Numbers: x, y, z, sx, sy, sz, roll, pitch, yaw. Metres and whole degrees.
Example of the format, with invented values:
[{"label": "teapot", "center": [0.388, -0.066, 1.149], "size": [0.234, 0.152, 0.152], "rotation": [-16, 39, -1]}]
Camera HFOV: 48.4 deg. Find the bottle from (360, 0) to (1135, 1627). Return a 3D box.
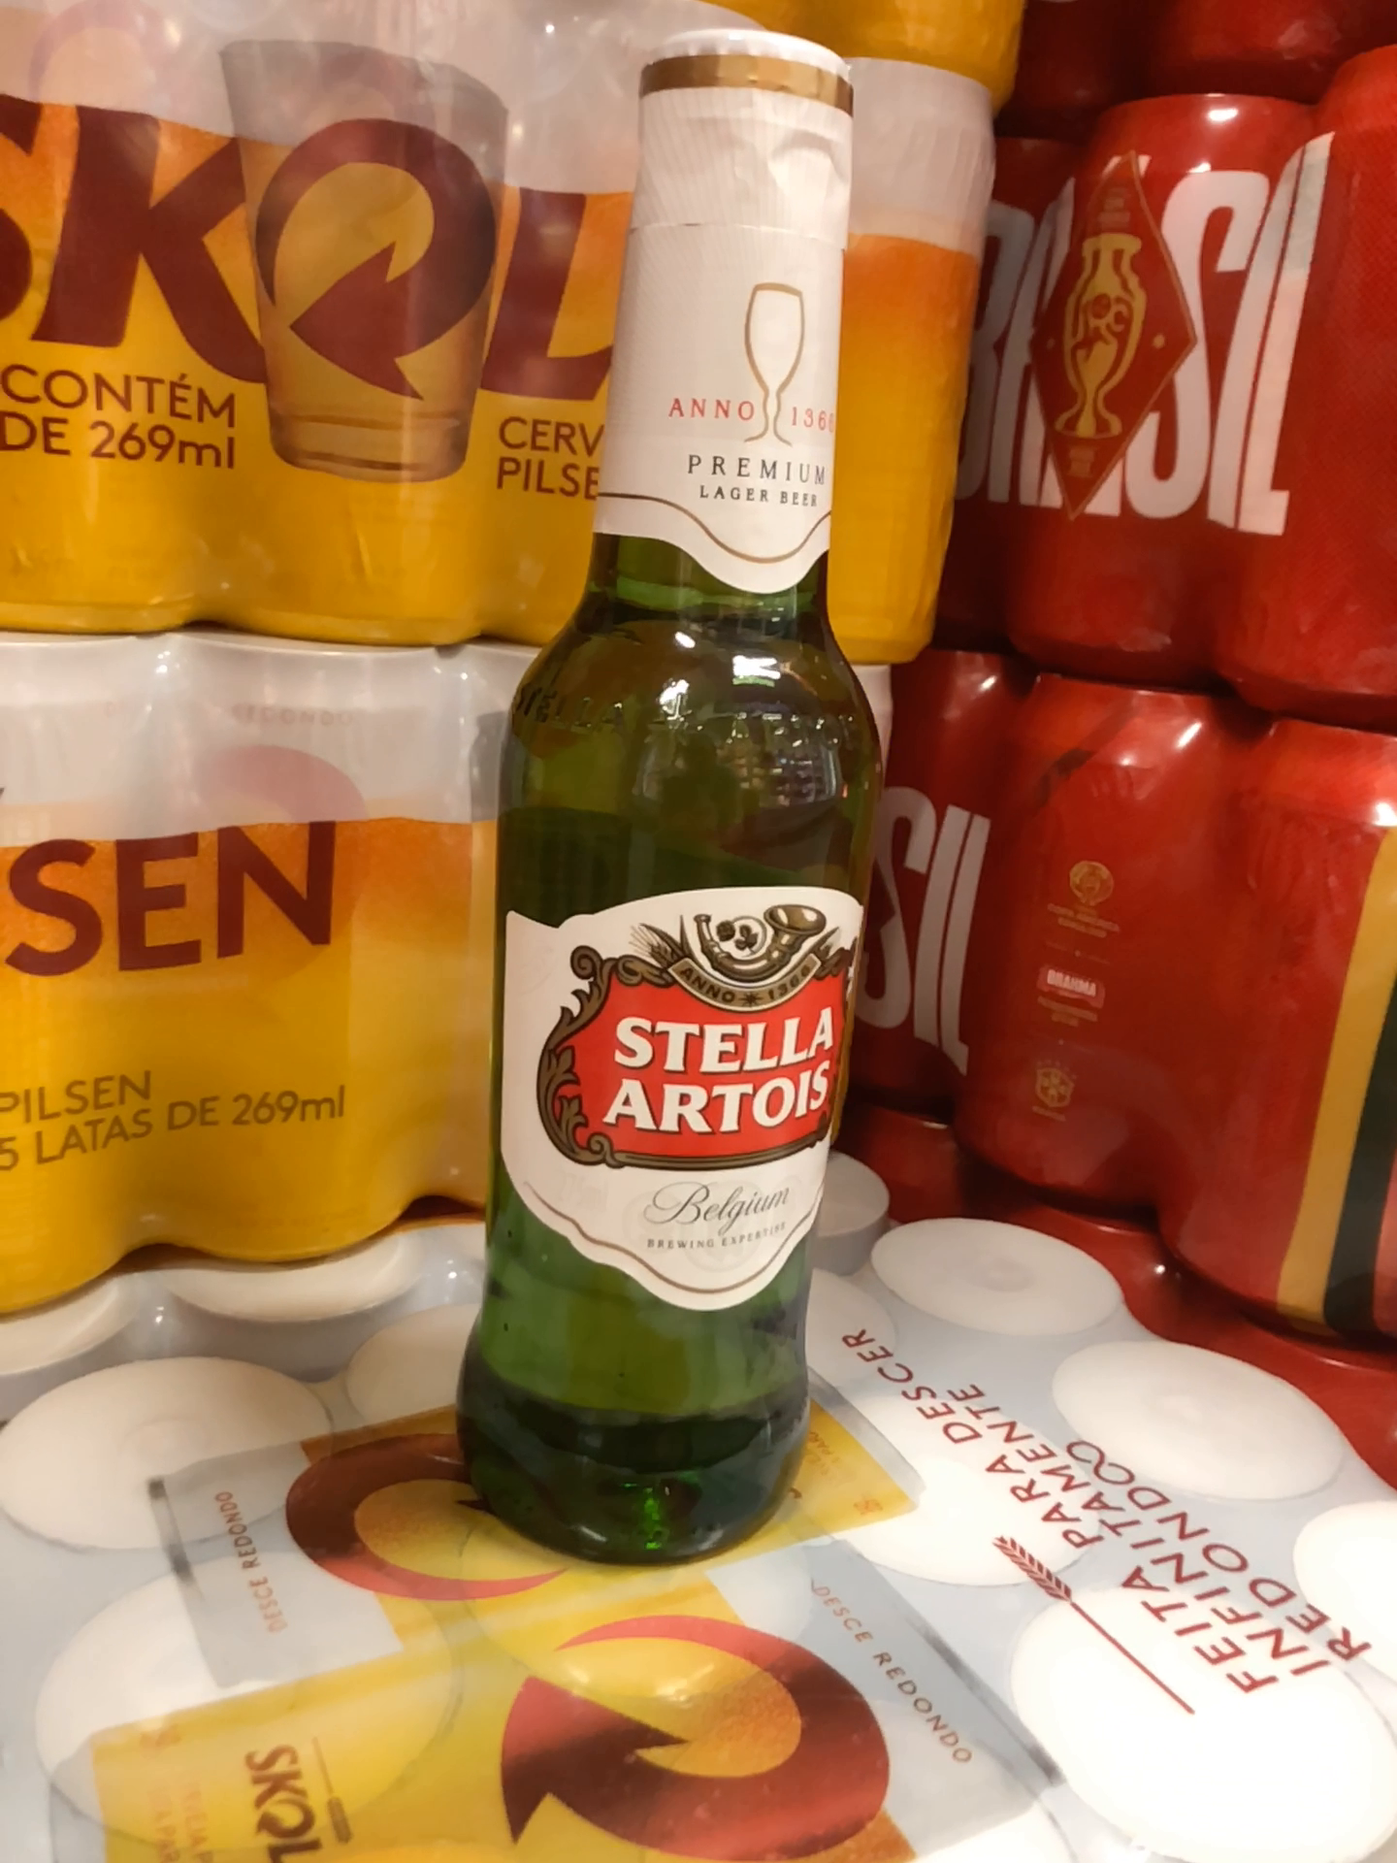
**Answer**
[{"label": "bottle", "center": [-0.002, -0.018, 0.231], "size": [0.070, 0.219, 0.060], "rotation": [-4, 19, -30]}]
